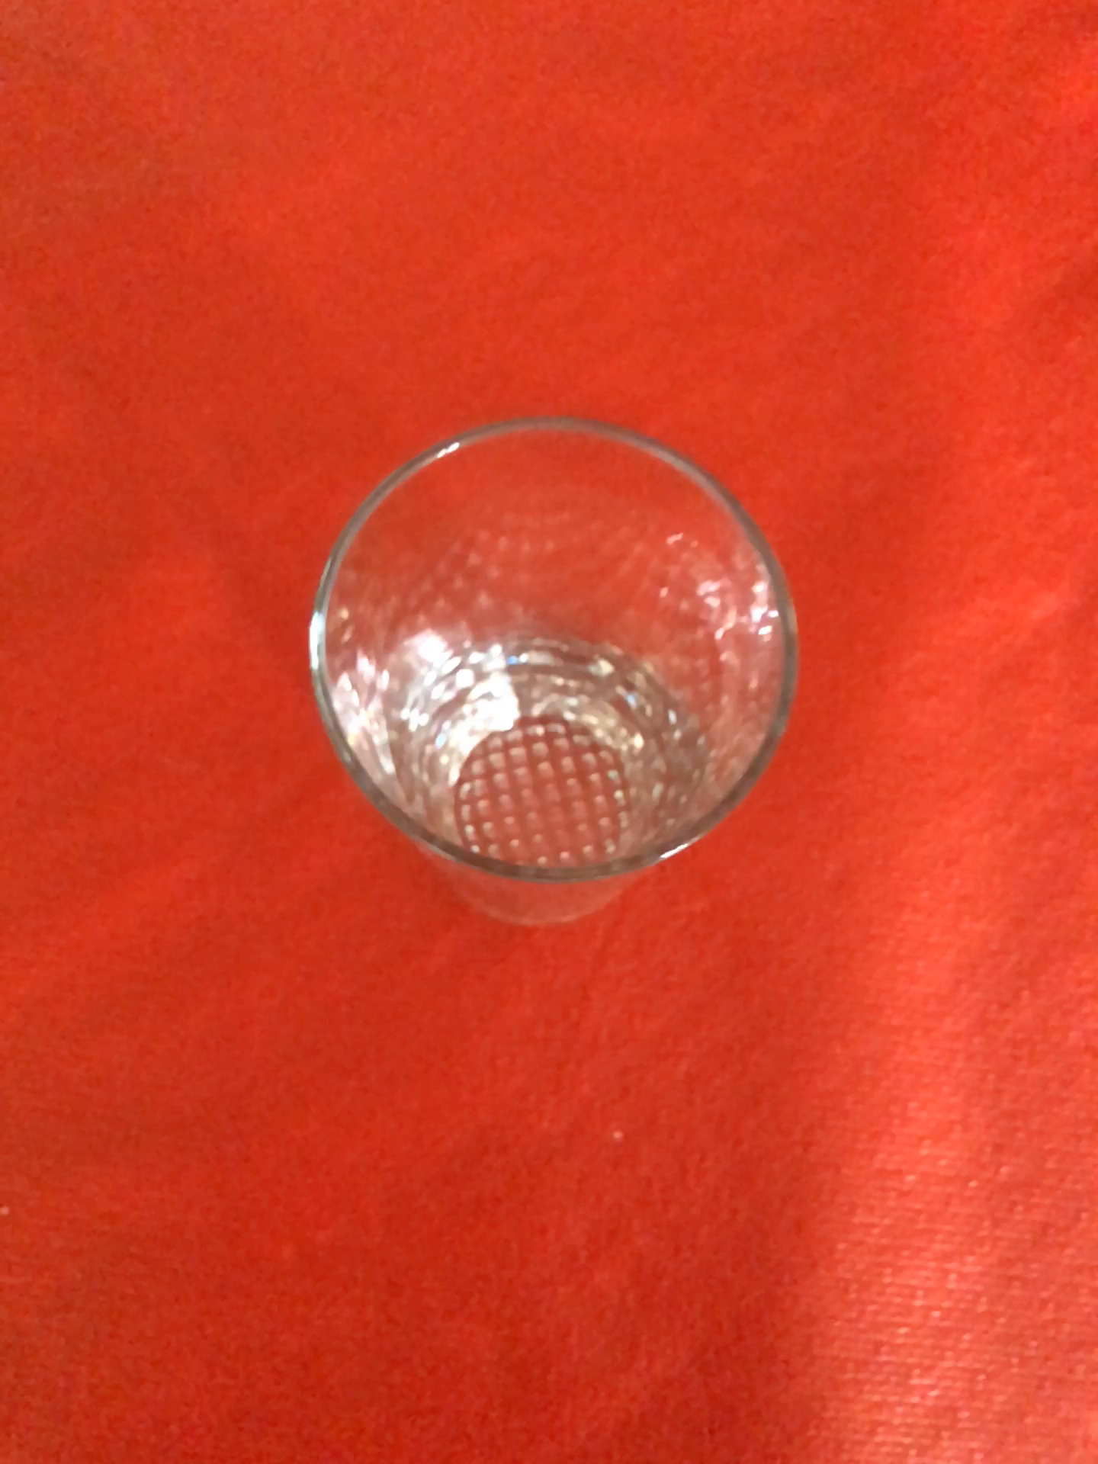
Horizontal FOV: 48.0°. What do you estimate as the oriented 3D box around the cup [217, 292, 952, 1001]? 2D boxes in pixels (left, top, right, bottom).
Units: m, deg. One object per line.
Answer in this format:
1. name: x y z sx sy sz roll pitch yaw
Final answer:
1. cup: 0.002 0.002 0.232 0.070 0.150 0.070 0 77 -1
